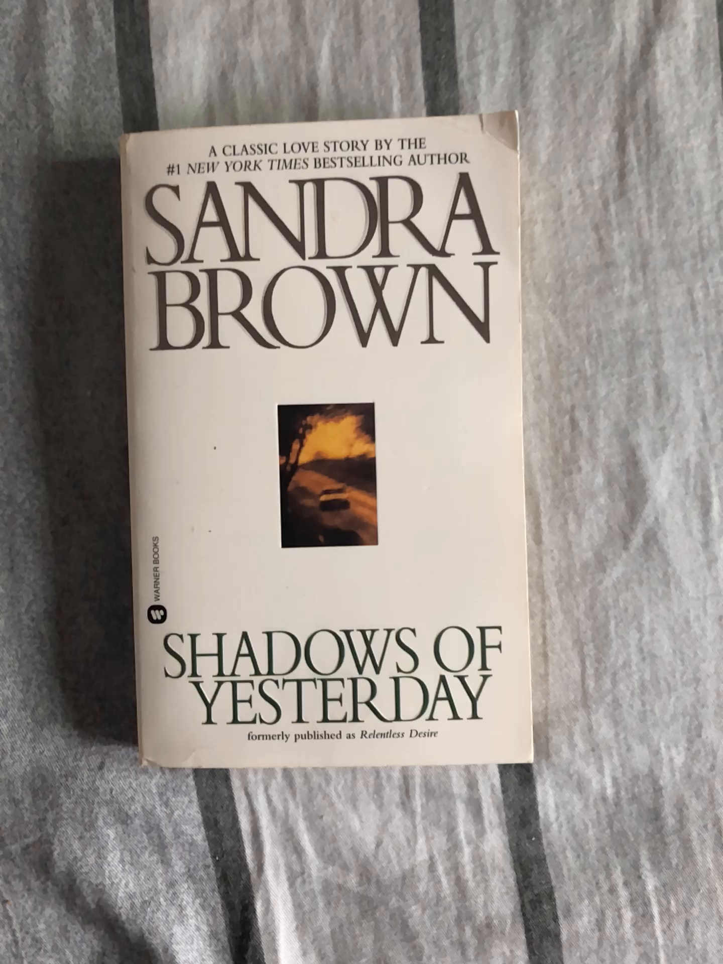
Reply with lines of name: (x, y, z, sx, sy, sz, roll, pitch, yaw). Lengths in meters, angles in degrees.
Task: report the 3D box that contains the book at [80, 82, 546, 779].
book: (-0.012, -0.014, 0.227, 0.120, 0.030, 0.180, -1, 91, -3)
